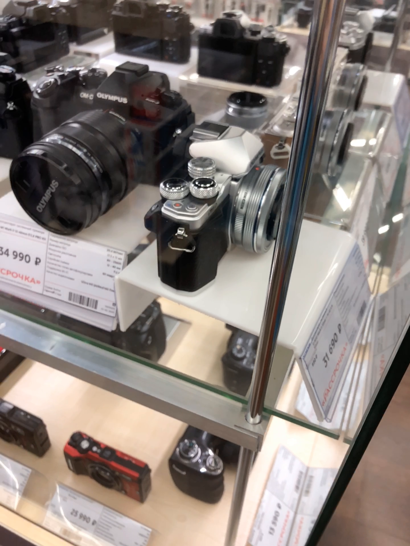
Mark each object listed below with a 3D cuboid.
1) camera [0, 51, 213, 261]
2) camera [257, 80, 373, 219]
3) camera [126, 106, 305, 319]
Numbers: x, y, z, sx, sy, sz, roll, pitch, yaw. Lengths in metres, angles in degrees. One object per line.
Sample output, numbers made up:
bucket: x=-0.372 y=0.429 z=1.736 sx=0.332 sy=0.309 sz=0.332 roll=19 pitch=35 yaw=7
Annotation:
camera: x=-0.070 y=-0.096 z=0.344 sx=0.102 sy=0.087 sz=0.137 roll=18 pitch=43 yaw=17
camera: x=0.103 y=-0.118 z=0.417 sx=0.065 sy=0.062 sz=0.140 roll=17 pitch=42 yaw=16
camera: x=0.011 y=-0.047 z=0.309 sx=0.071 sy=0.080 sz=0.121 roll=17 pitch=42 yaw=16
